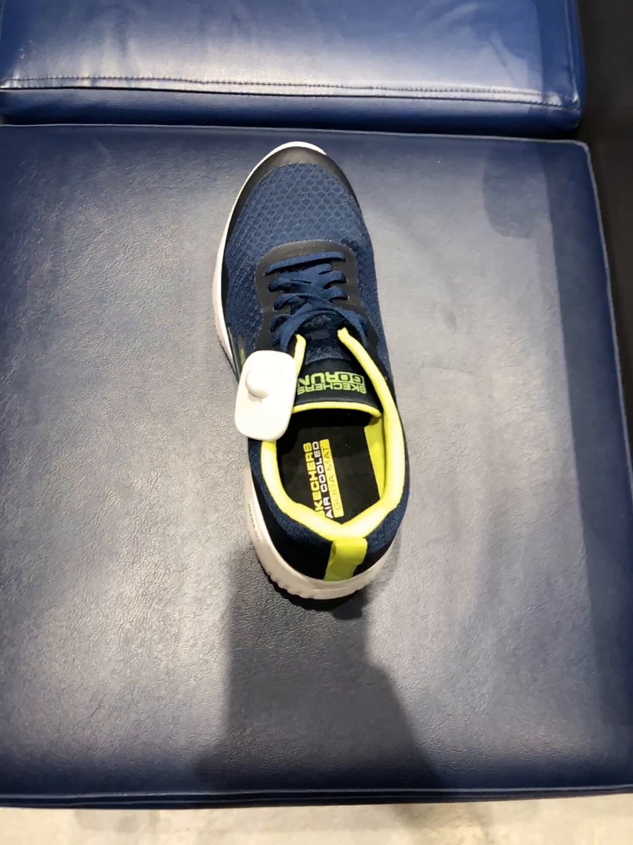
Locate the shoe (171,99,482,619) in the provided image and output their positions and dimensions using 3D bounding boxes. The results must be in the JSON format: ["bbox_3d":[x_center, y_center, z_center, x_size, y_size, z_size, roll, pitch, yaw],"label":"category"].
[{"bbox_3d":[-0.004,-0.028,0.403,0.114,0.132,0.255,-8,75,-4],"label":"shoe"}]
